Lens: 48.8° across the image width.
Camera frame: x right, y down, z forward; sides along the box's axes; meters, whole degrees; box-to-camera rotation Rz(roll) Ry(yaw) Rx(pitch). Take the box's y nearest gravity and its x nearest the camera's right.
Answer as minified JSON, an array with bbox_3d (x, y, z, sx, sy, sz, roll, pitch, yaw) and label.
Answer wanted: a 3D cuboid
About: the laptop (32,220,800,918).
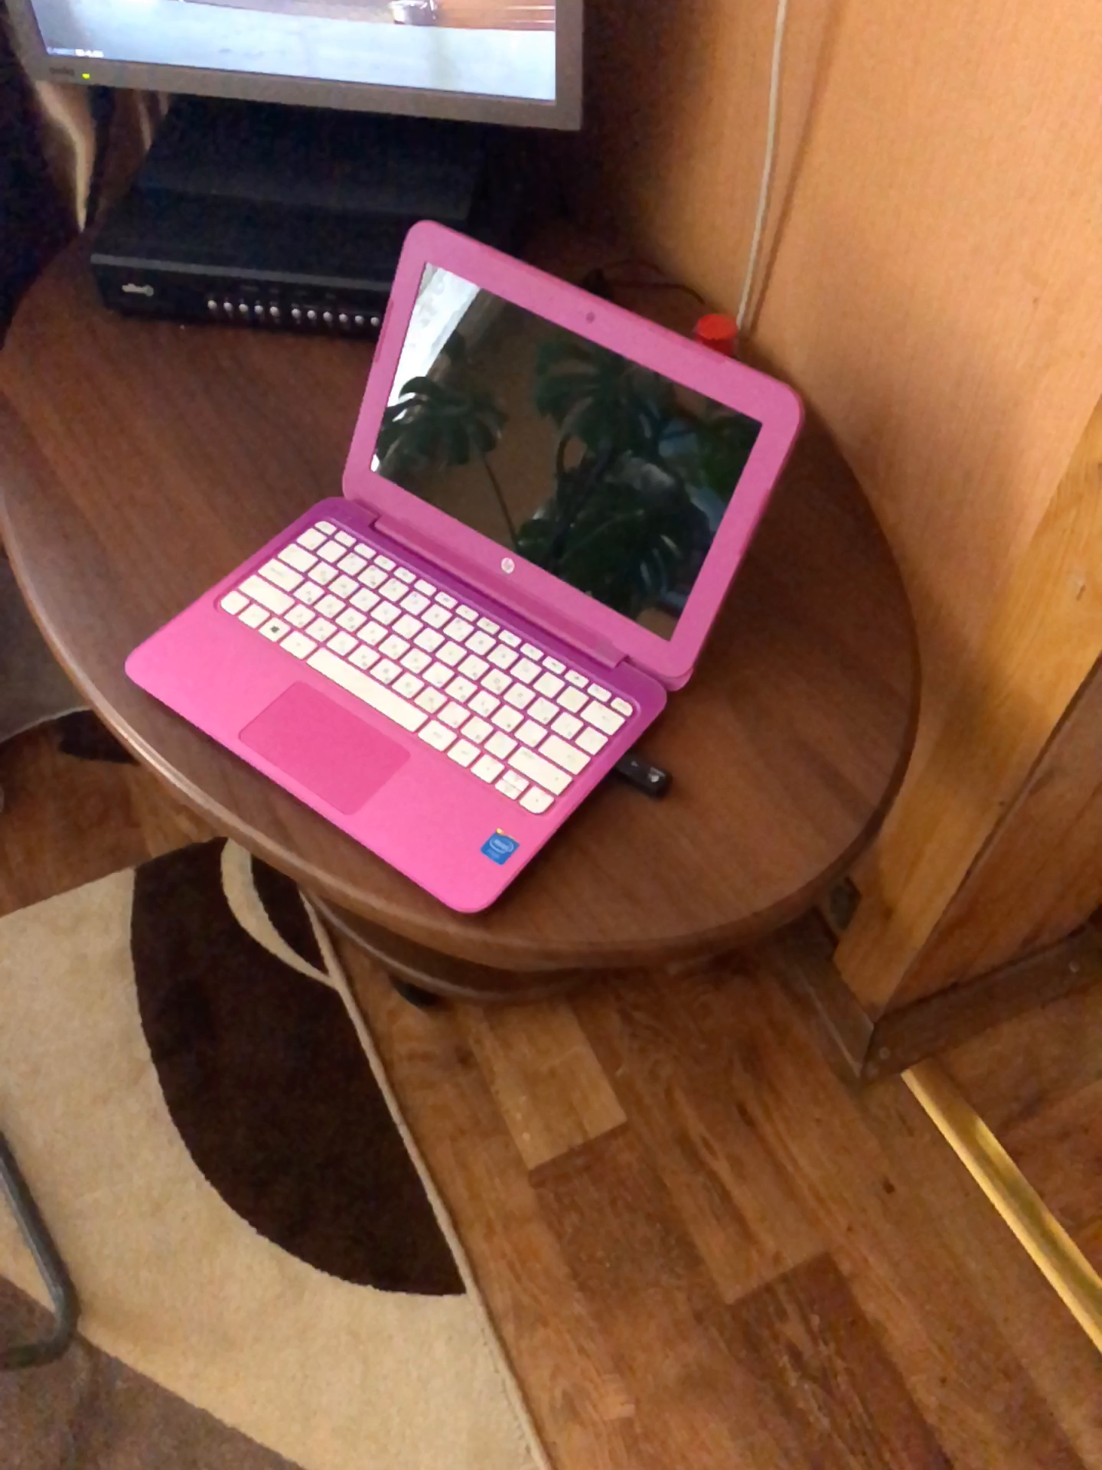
[{"bbox_3d":[-0.064,-0.112,0.699,0.279,0.150,0.296,32,60,21],"label":"laptop"}]
